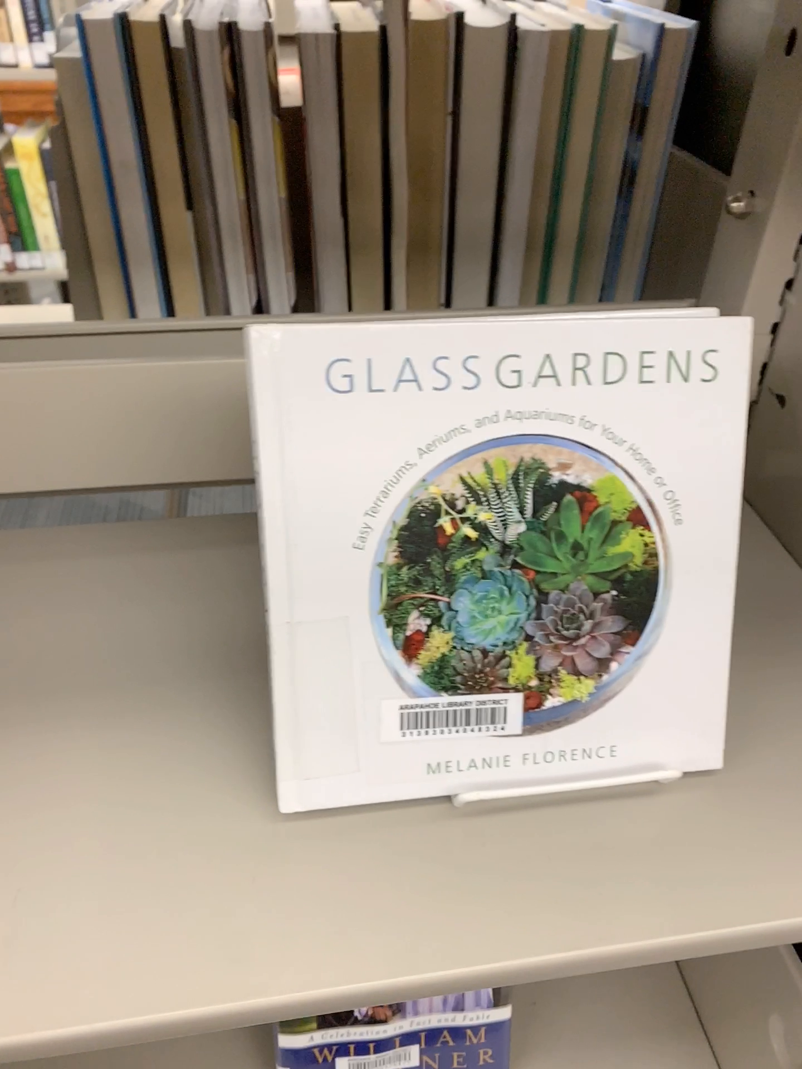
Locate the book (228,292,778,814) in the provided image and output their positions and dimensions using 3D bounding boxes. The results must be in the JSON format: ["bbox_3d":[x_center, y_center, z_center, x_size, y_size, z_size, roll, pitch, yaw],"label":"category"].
[{"bbox_3d":[0.037,0.006,0.300,0.180,0.174,0.030,-3,14,-7],"label":"book"}]
